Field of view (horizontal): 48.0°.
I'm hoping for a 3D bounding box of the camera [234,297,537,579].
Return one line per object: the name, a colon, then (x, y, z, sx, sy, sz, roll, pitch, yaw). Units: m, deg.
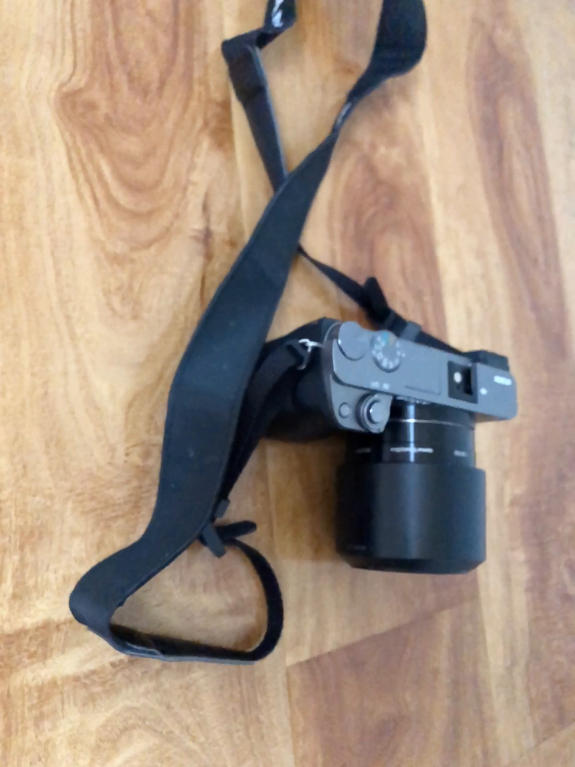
camera: (0.050, 0.033, 0.316, 0.131, 0.070, 0.110, 10, 75, -36)
